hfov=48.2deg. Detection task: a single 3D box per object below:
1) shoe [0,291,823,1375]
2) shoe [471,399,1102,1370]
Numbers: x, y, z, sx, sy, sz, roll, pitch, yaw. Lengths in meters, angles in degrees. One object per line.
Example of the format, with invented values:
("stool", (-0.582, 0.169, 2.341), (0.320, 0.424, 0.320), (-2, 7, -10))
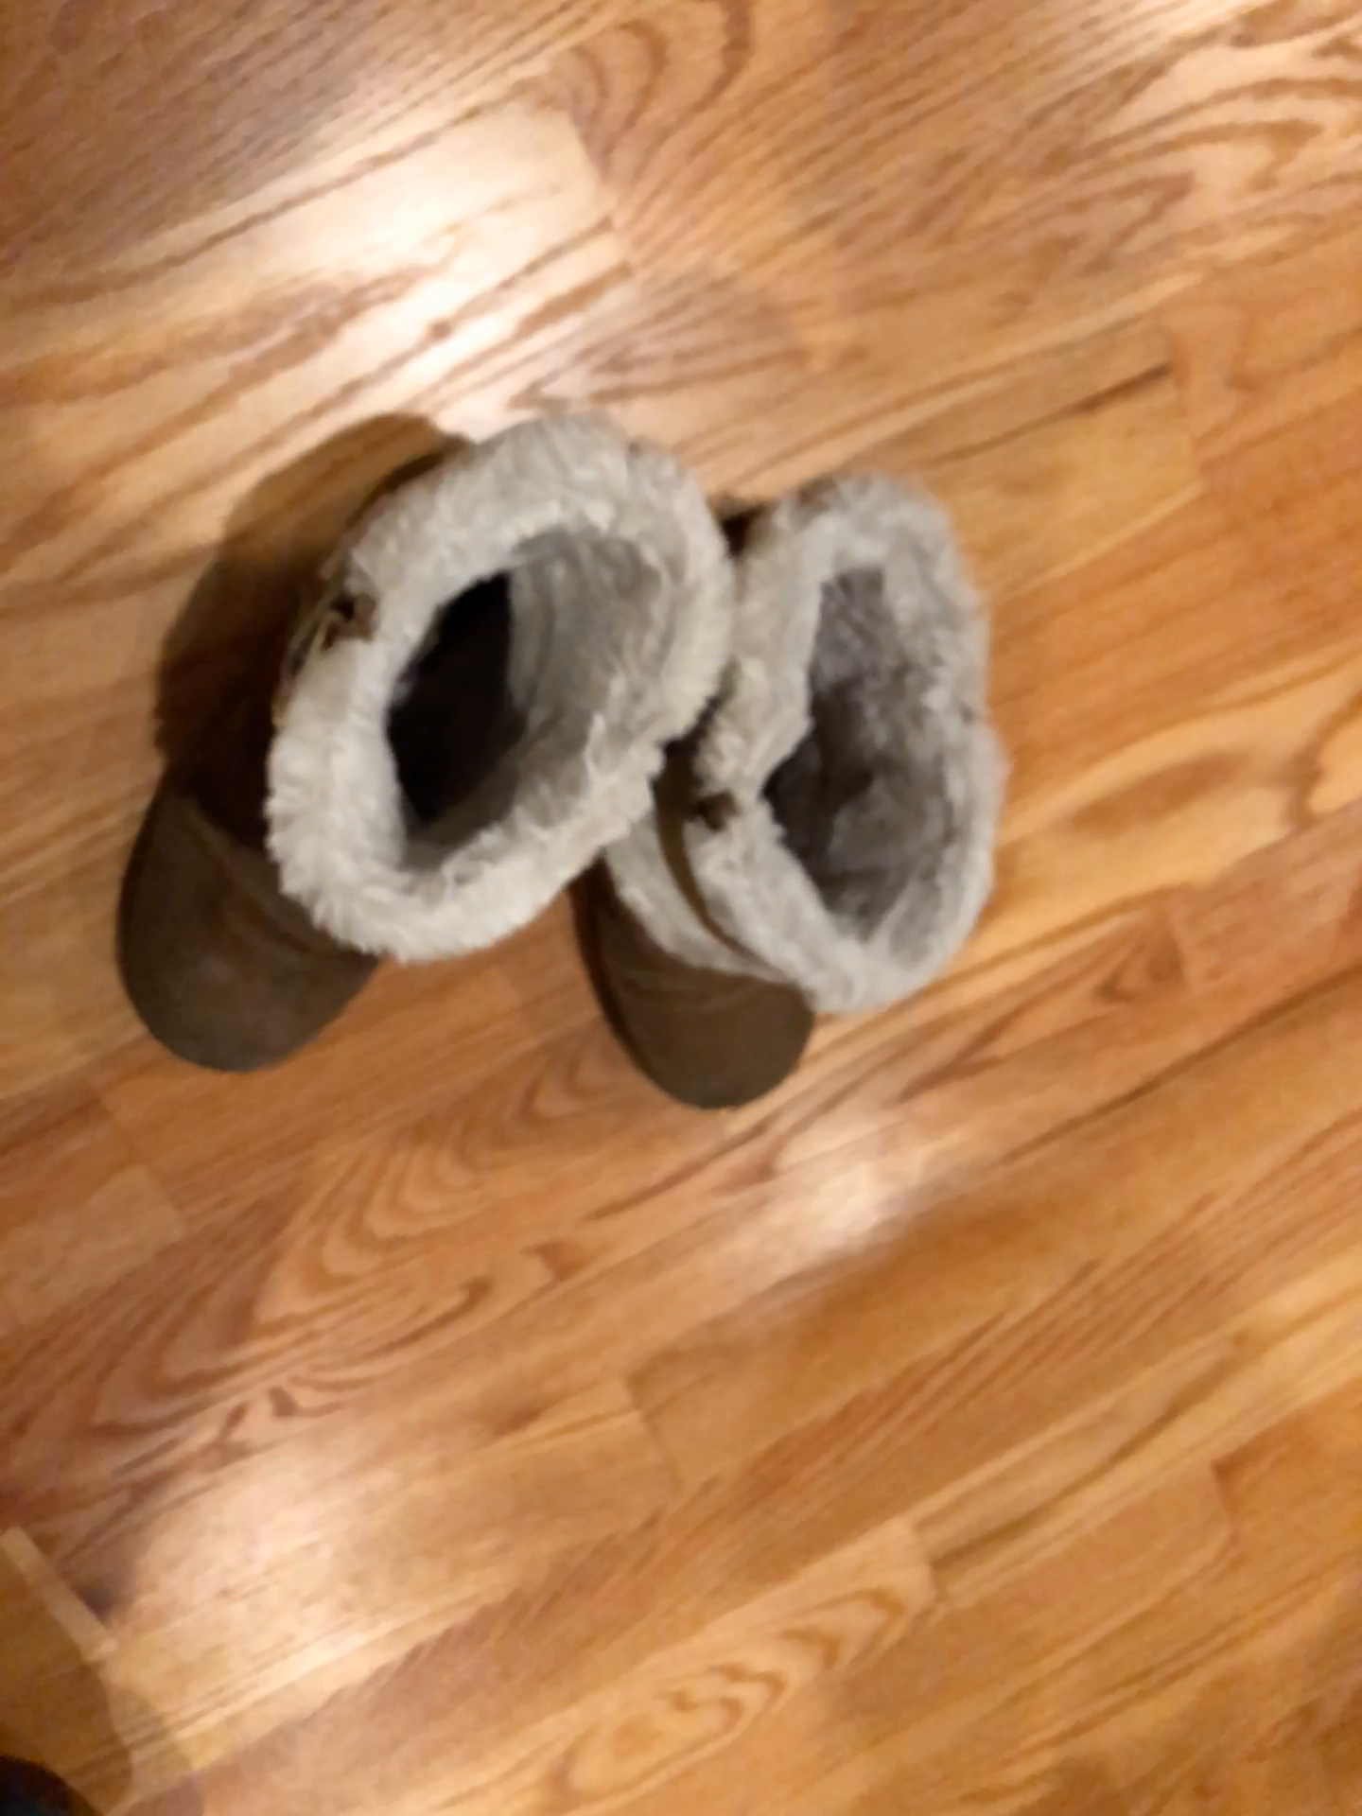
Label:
("shoe", (-0.097, -0.035, 0.460), (0.106, 0.194, 0.254), (25, 100, -23))
("shoe", (0.029, -0.024, 0.505), (0.113, 0.194, 0.254), (-16, 113, -11))
